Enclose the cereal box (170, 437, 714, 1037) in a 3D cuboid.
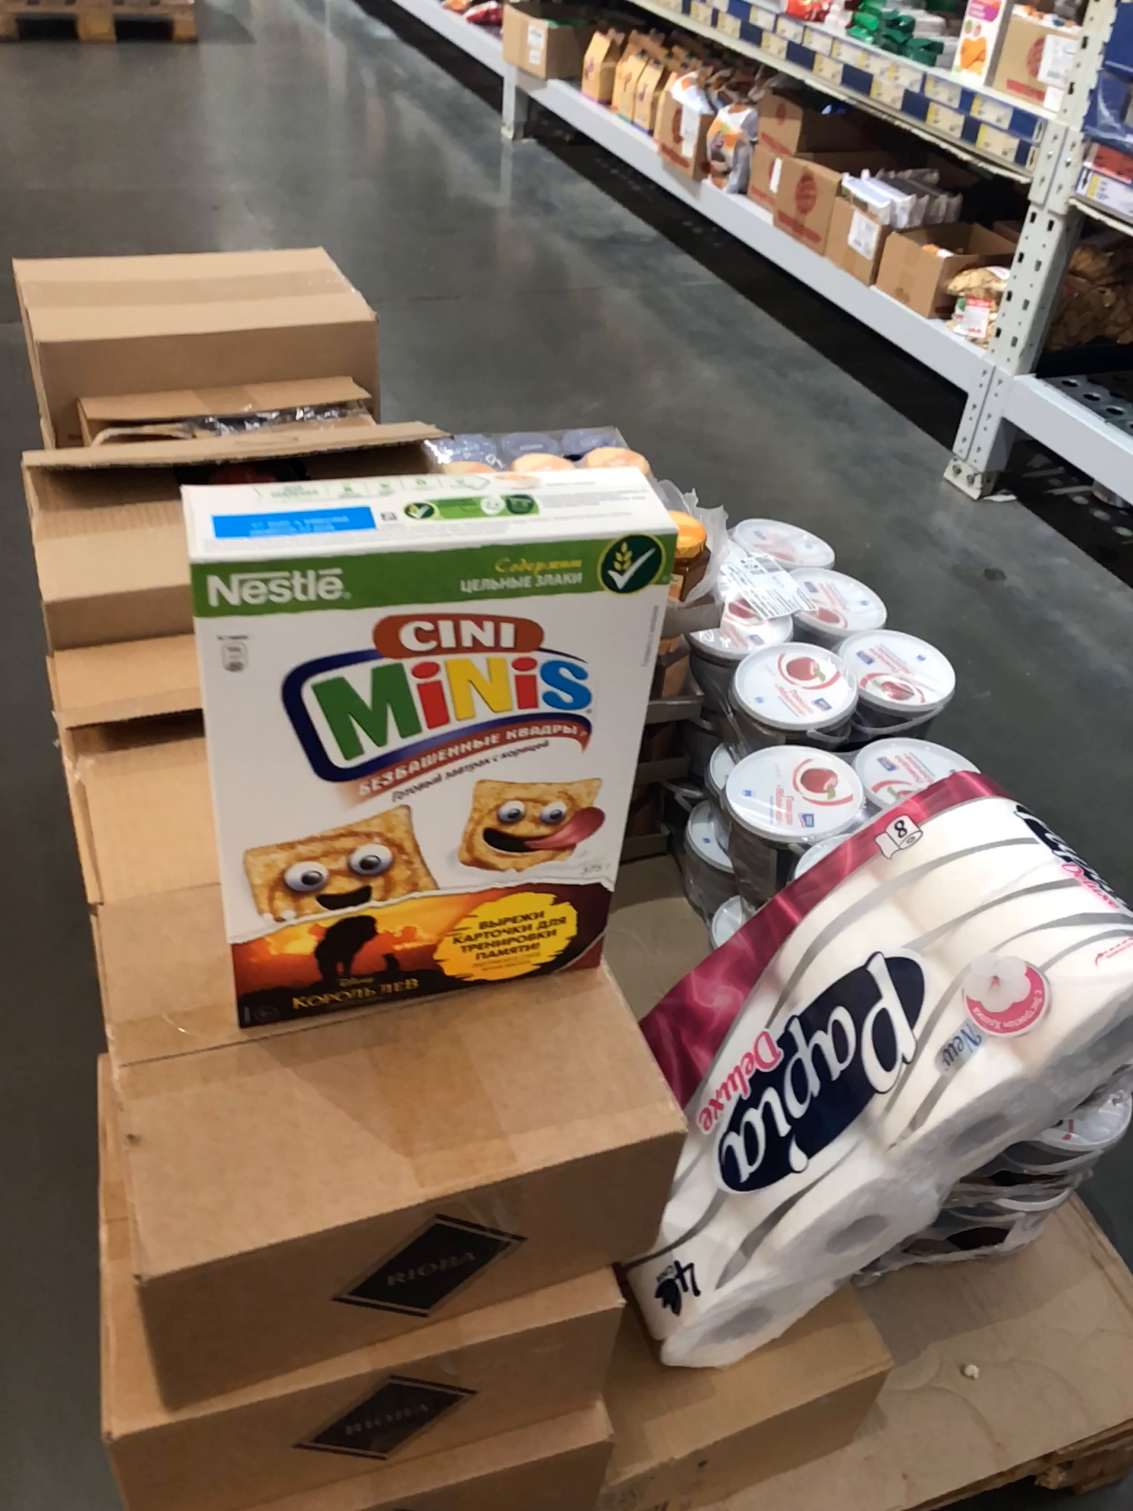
[{"bbox_3d":[-0.059,0.002,0.566,0.200,0.278,0.060,-6,41,-14],"label":"cereal box"}]
